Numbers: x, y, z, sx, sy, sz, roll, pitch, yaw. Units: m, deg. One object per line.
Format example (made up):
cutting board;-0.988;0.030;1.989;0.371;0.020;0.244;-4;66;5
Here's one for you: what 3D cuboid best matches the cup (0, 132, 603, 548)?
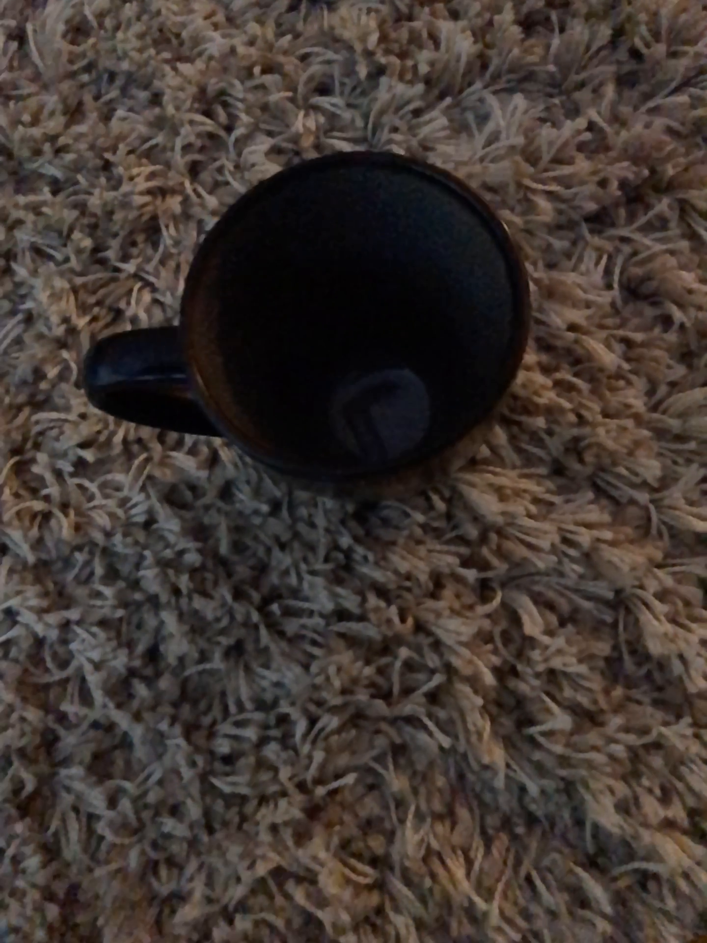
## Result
cup;-0.011;-0.029;0.232;0.140;0.090;0.090;-1;76;5
